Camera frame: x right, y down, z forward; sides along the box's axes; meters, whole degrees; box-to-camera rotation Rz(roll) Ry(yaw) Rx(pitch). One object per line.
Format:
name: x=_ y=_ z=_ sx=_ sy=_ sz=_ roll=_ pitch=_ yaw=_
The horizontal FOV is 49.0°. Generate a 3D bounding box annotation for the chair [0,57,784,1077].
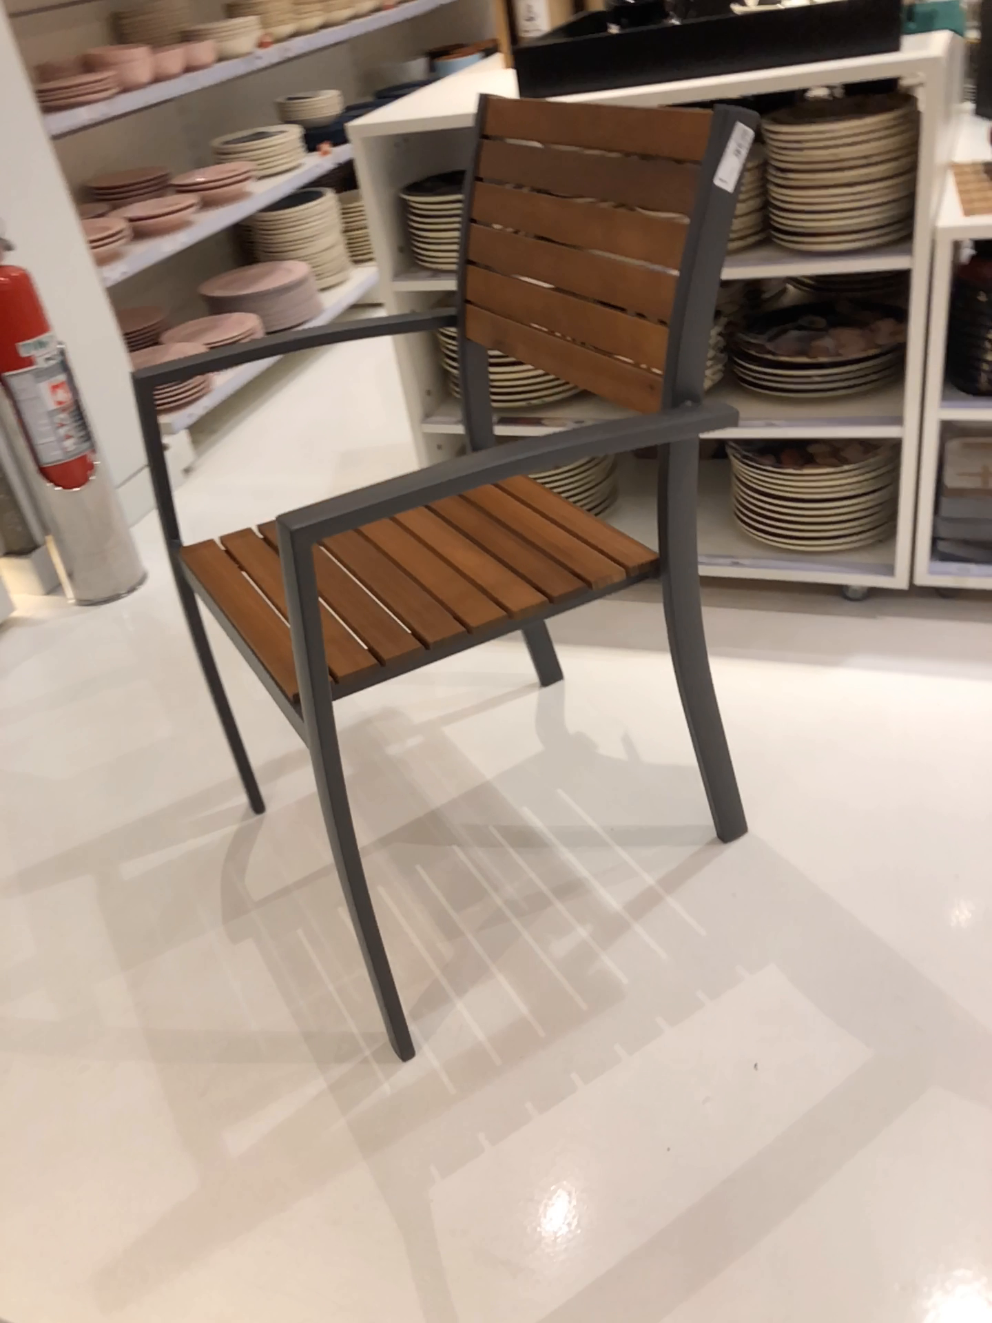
chair: x=-0.109 y=-0.147 z=1.164 sx=0.531 sy=0.784 sz=0.594 roll=-24 pitch=35 yaw=-19
